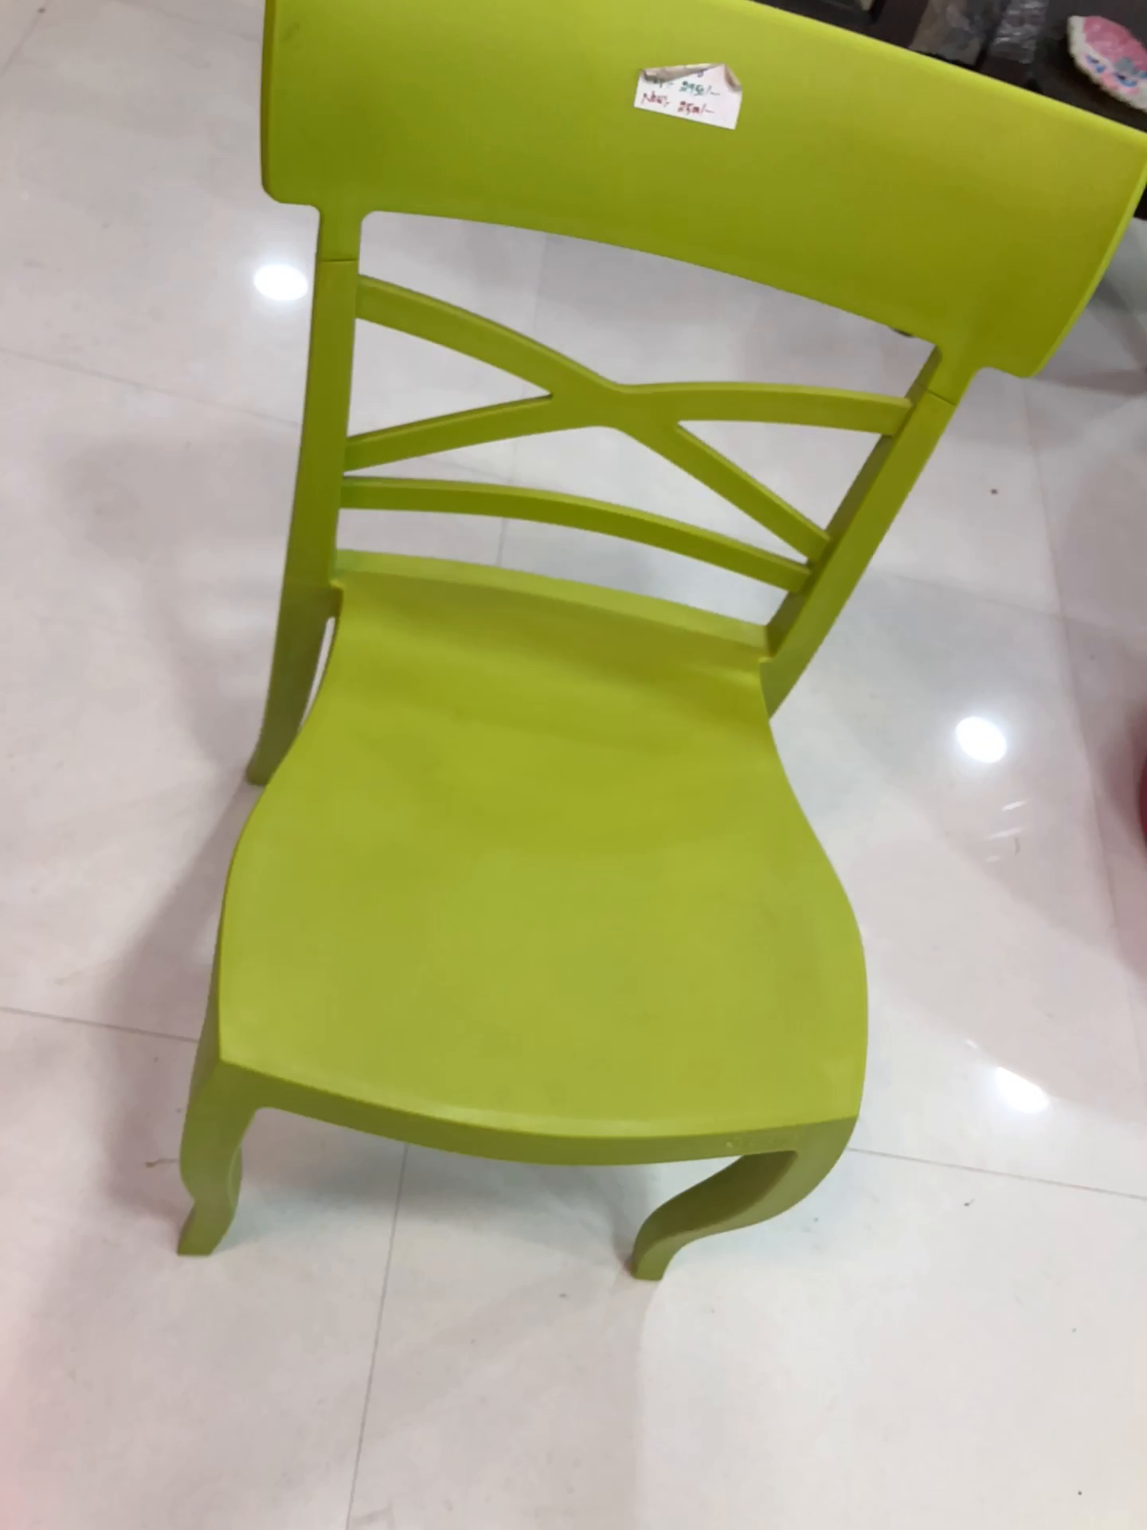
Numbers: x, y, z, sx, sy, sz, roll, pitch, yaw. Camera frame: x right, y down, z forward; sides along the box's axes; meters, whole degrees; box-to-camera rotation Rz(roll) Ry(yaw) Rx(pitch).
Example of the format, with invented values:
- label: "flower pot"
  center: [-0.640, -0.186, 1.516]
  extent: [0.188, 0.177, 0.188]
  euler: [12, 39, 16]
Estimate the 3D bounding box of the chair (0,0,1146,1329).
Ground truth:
- label: "chair"
  center: [0.008, -0.037, 0.846]
  extent: [0.500, 0.805, 0.613]
  euler: [9, 56, -12]
